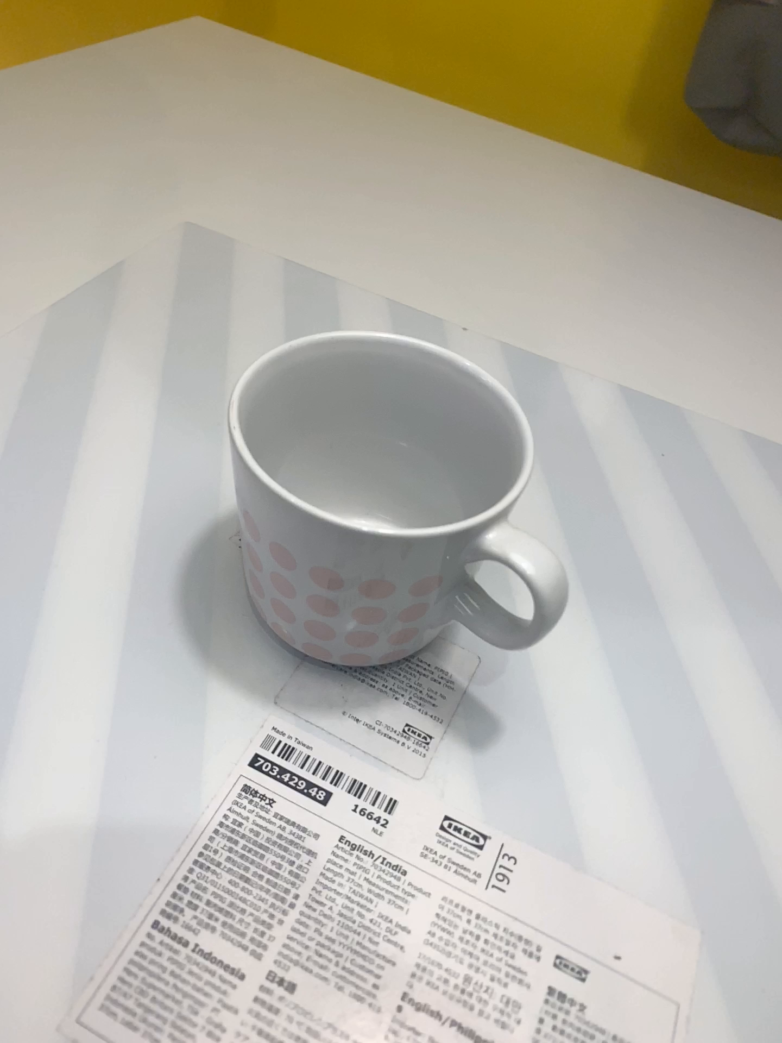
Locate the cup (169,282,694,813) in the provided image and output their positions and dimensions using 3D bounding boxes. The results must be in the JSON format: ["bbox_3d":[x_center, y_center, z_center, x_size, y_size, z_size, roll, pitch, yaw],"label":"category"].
[{"bbox_3d":[0.006,0.002,0.234,0.110,0.080,0.080,34,49,20],"label":"cup"}]
